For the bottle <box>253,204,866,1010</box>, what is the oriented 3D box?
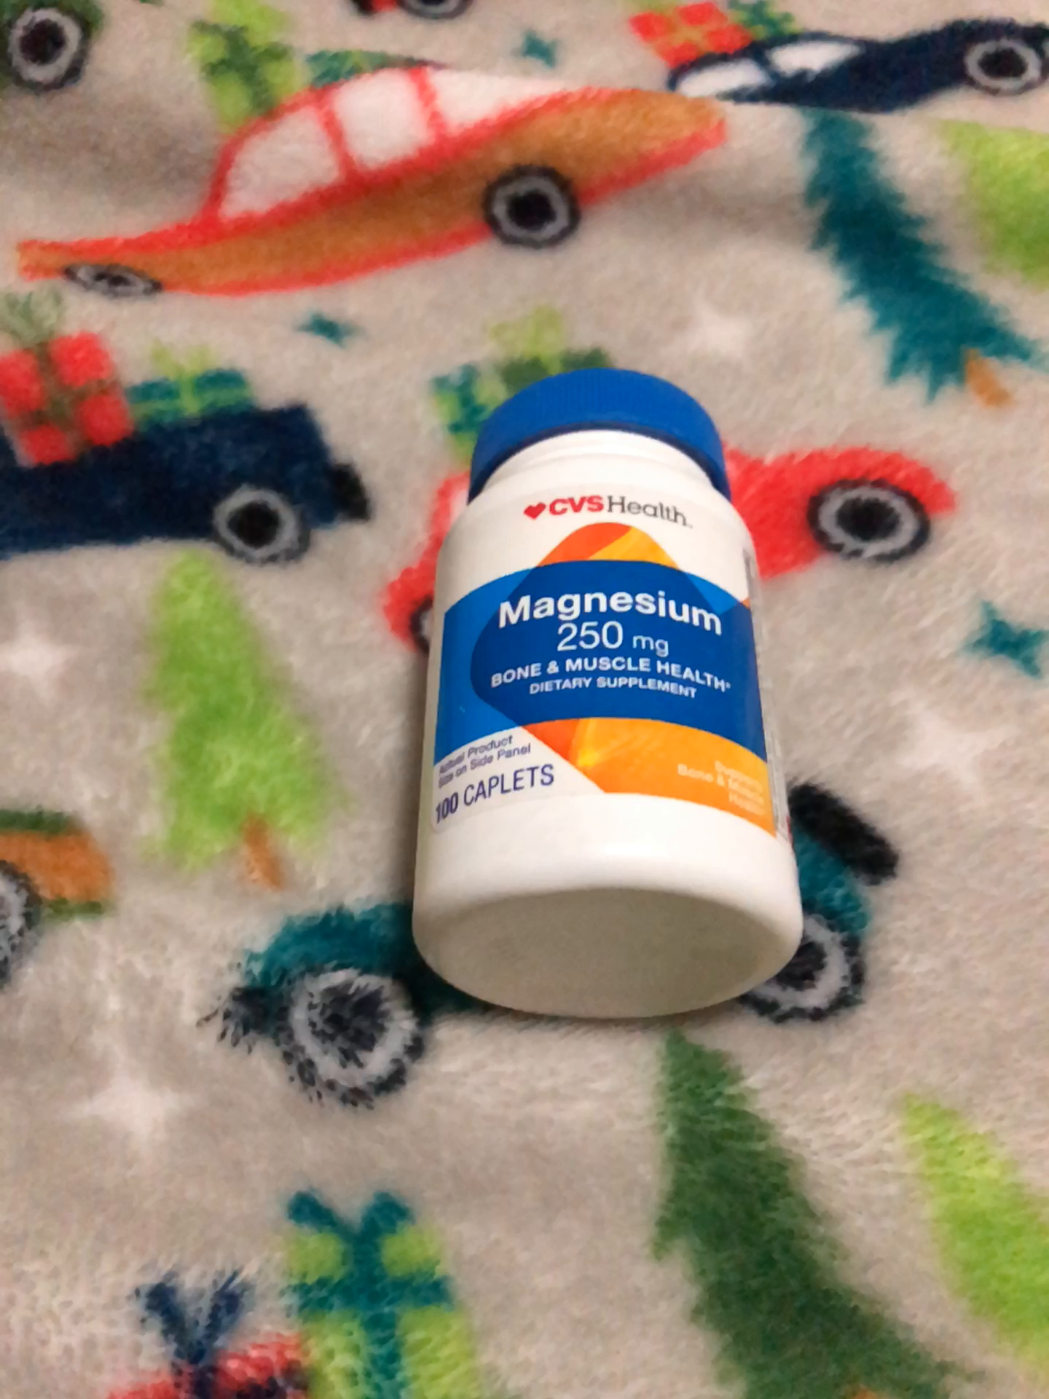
[{"bbox_3d":[0.005,-0.015,0.165,0.060,0.050,0.100,-2,56,3],"label":"bottle"}]
